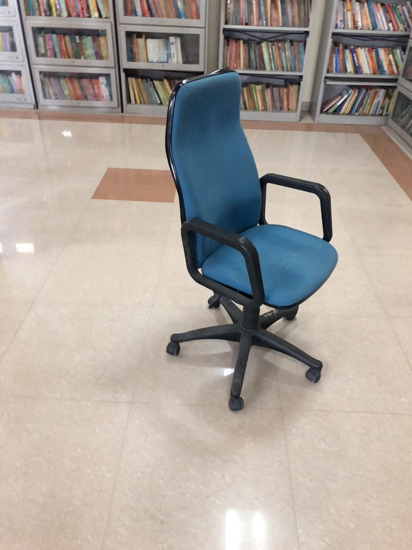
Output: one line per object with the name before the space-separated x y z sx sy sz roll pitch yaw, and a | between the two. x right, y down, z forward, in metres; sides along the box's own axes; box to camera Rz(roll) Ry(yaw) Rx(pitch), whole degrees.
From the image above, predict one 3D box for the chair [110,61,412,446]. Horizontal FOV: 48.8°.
chair | 0.220 -0.137 1.746 0.761 1.076 0.742 25 41 29
